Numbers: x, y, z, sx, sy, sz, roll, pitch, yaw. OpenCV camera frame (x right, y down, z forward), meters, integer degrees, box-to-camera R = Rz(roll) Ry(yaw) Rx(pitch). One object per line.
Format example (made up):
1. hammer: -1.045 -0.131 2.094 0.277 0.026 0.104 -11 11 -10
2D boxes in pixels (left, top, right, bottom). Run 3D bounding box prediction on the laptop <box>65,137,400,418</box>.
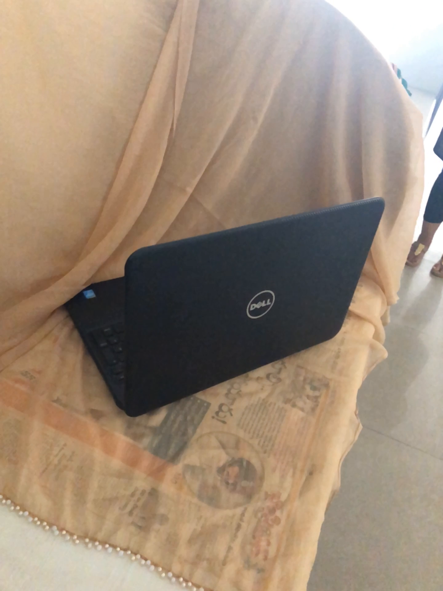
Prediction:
1. laptop: -0.004 -0.050 0.694 0.333 0.237 0.257 -17 45 -29
